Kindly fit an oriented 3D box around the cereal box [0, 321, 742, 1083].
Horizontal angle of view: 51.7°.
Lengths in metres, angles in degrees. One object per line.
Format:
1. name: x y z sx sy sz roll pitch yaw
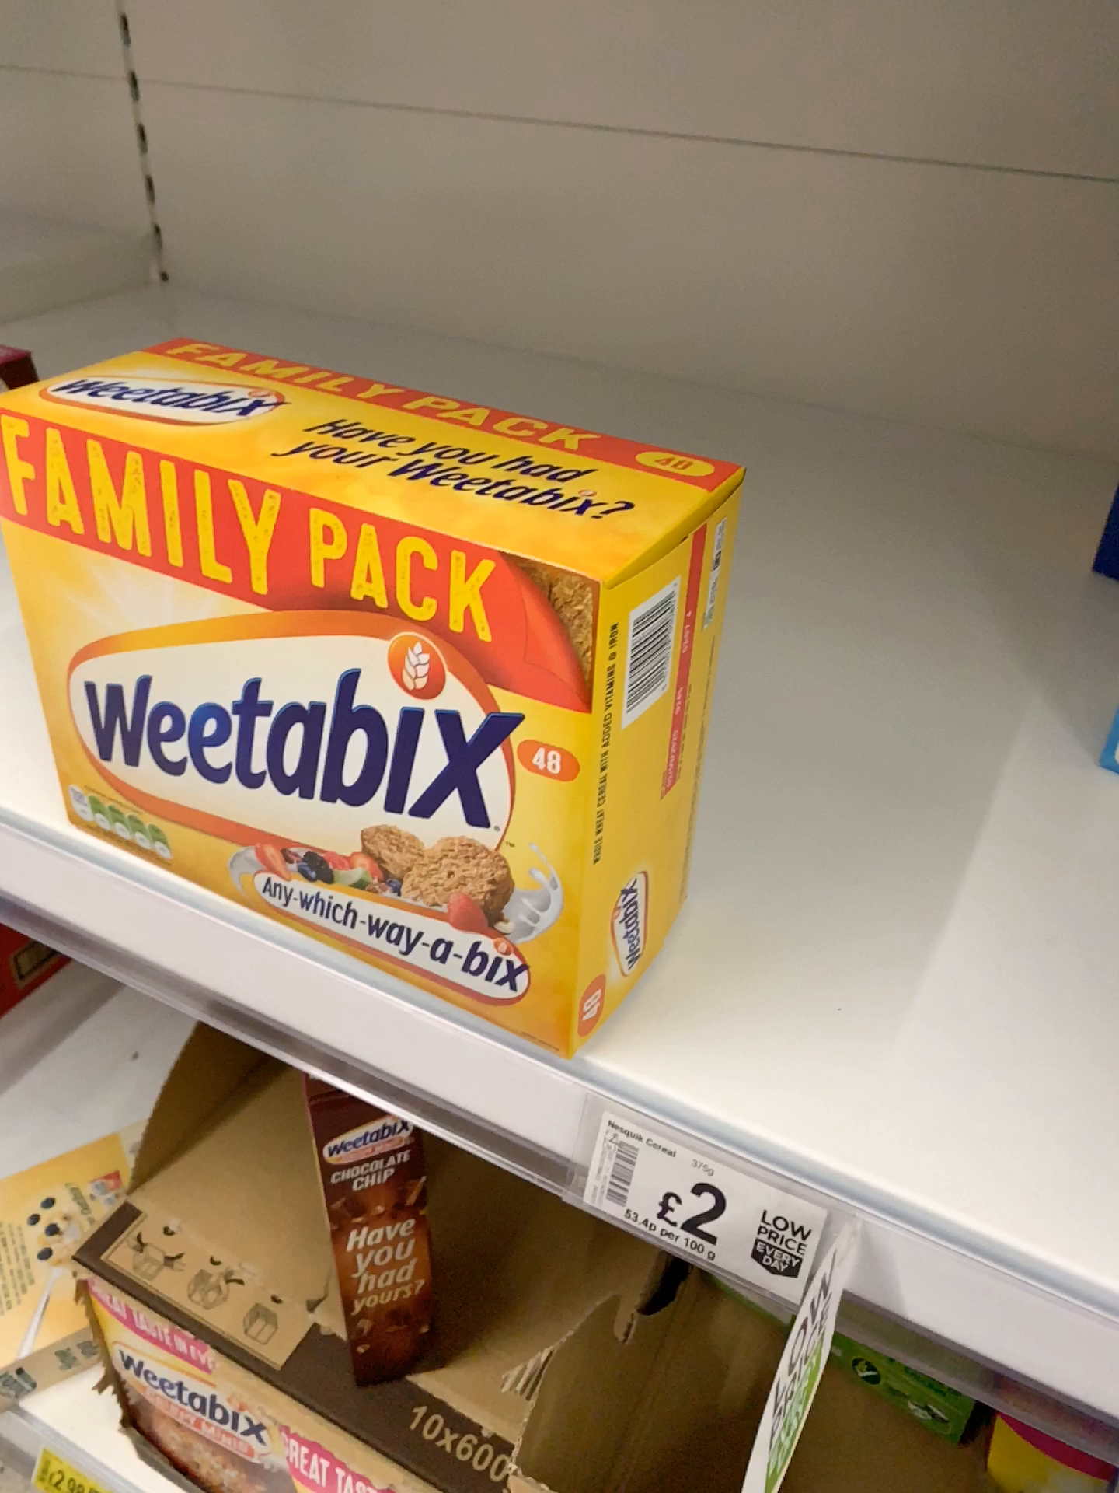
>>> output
1. cereal box: -0.083 -0.027 0.421 0.260 0.188 0.091 20 38 24
